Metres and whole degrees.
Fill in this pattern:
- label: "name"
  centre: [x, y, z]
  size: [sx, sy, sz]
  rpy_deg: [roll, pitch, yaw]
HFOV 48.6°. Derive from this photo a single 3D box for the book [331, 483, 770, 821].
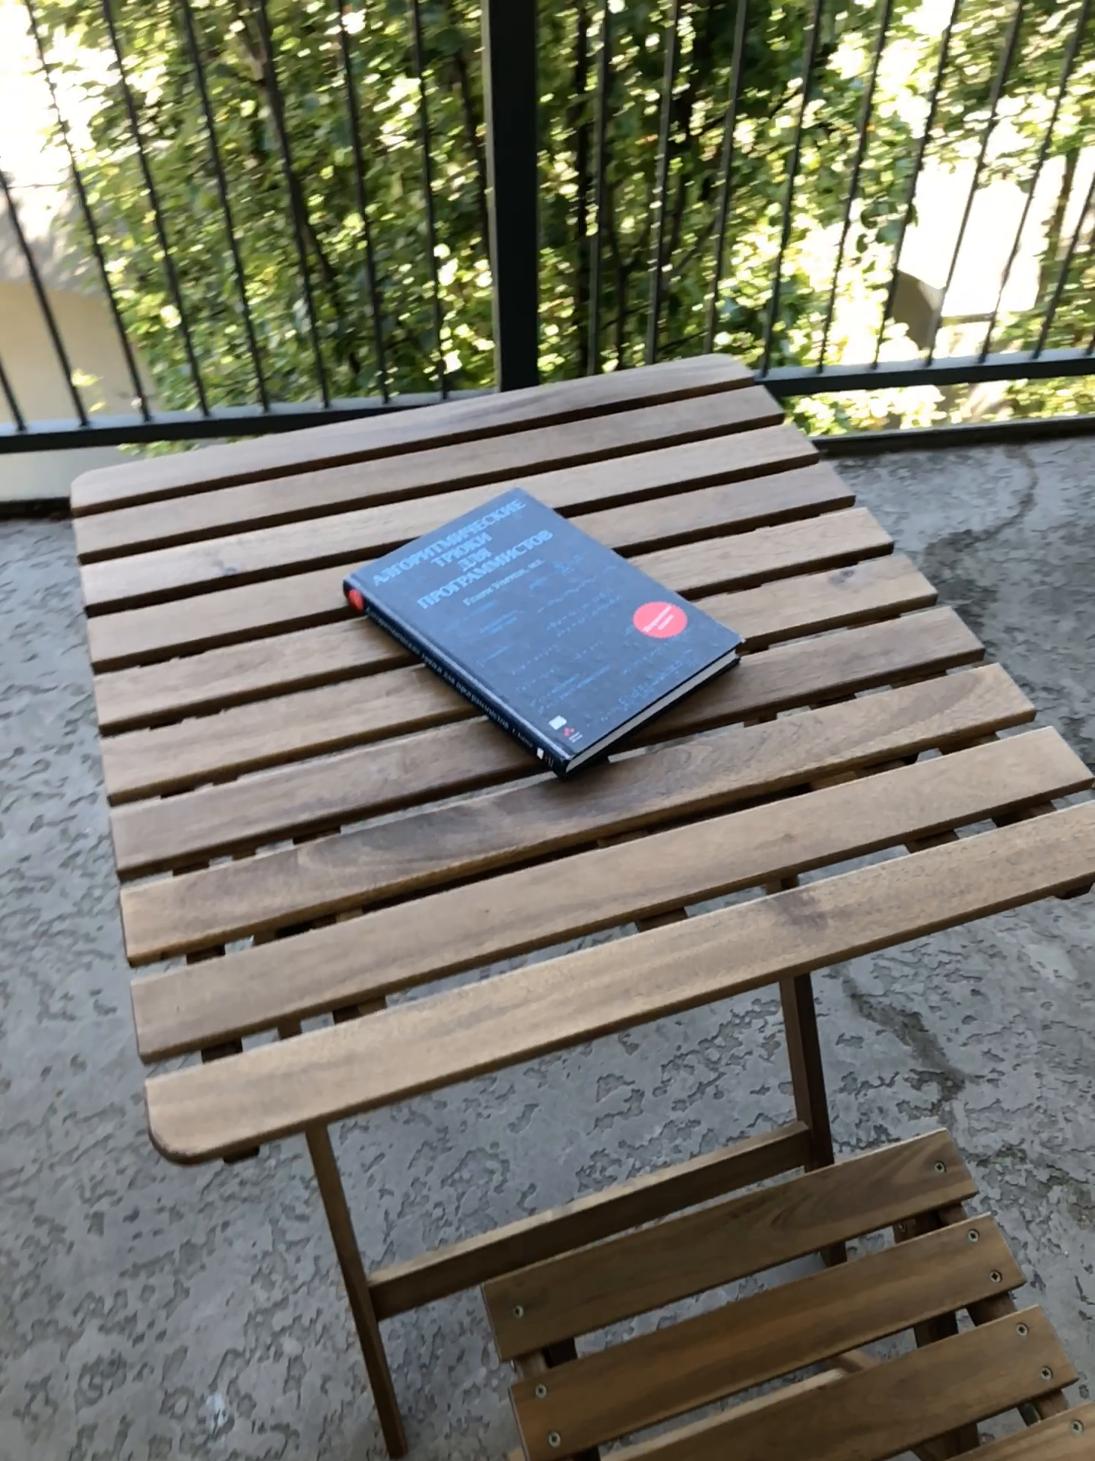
- label: "book"
  centre: [-0.002, -0.068, 0.844]
  size: [0.180, 0.030, 0.250]
  rpy_deg: [-34, 56, -27]
